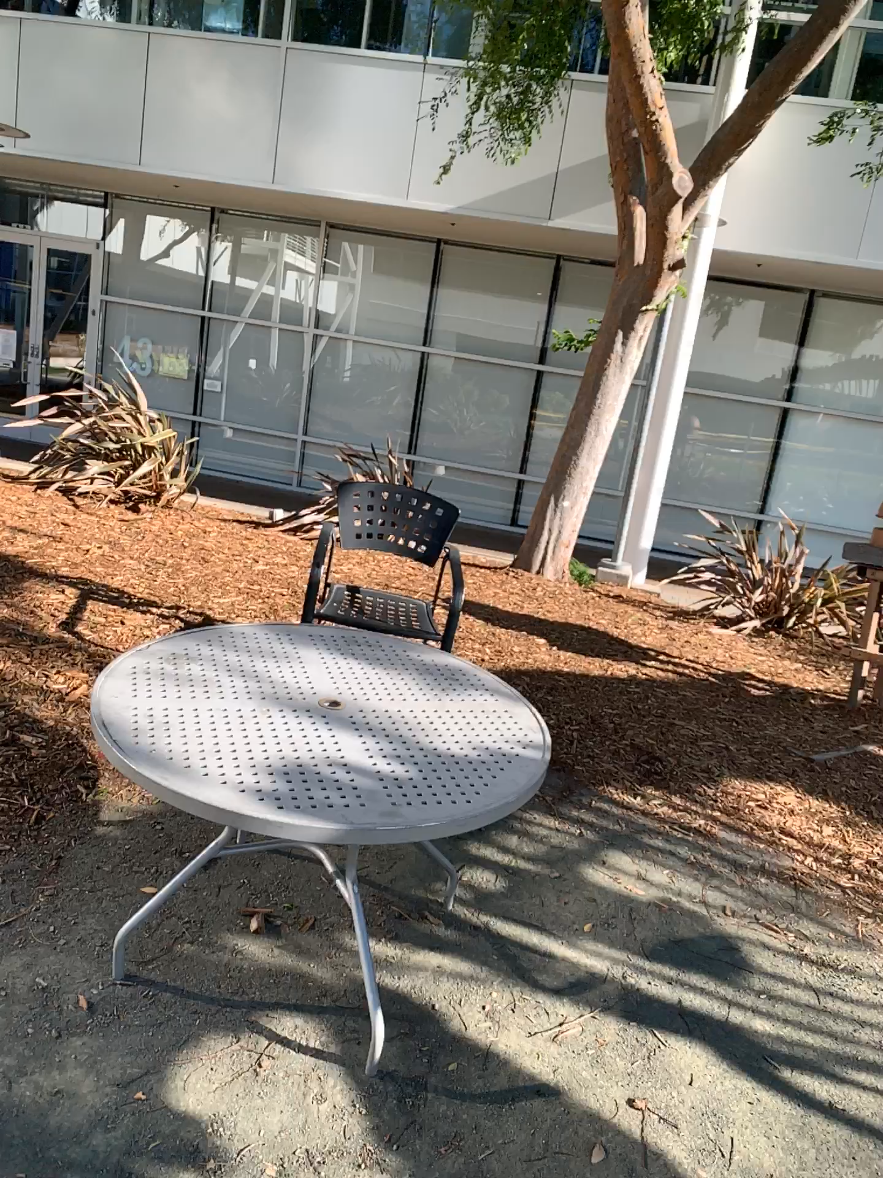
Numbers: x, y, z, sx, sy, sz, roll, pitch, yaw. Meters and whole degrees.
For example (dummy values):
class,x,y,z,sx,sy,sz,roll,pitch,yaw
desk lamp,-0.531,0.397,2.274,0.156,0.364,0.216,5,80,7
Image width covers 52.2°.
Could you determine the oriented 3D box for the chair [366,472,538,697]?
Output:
class,x,y,z,sx,sy,sz,roll,pitch,yaw
chair,0.031,-0.037,3.534,0.520,0.718,0.502,9,13,-2
